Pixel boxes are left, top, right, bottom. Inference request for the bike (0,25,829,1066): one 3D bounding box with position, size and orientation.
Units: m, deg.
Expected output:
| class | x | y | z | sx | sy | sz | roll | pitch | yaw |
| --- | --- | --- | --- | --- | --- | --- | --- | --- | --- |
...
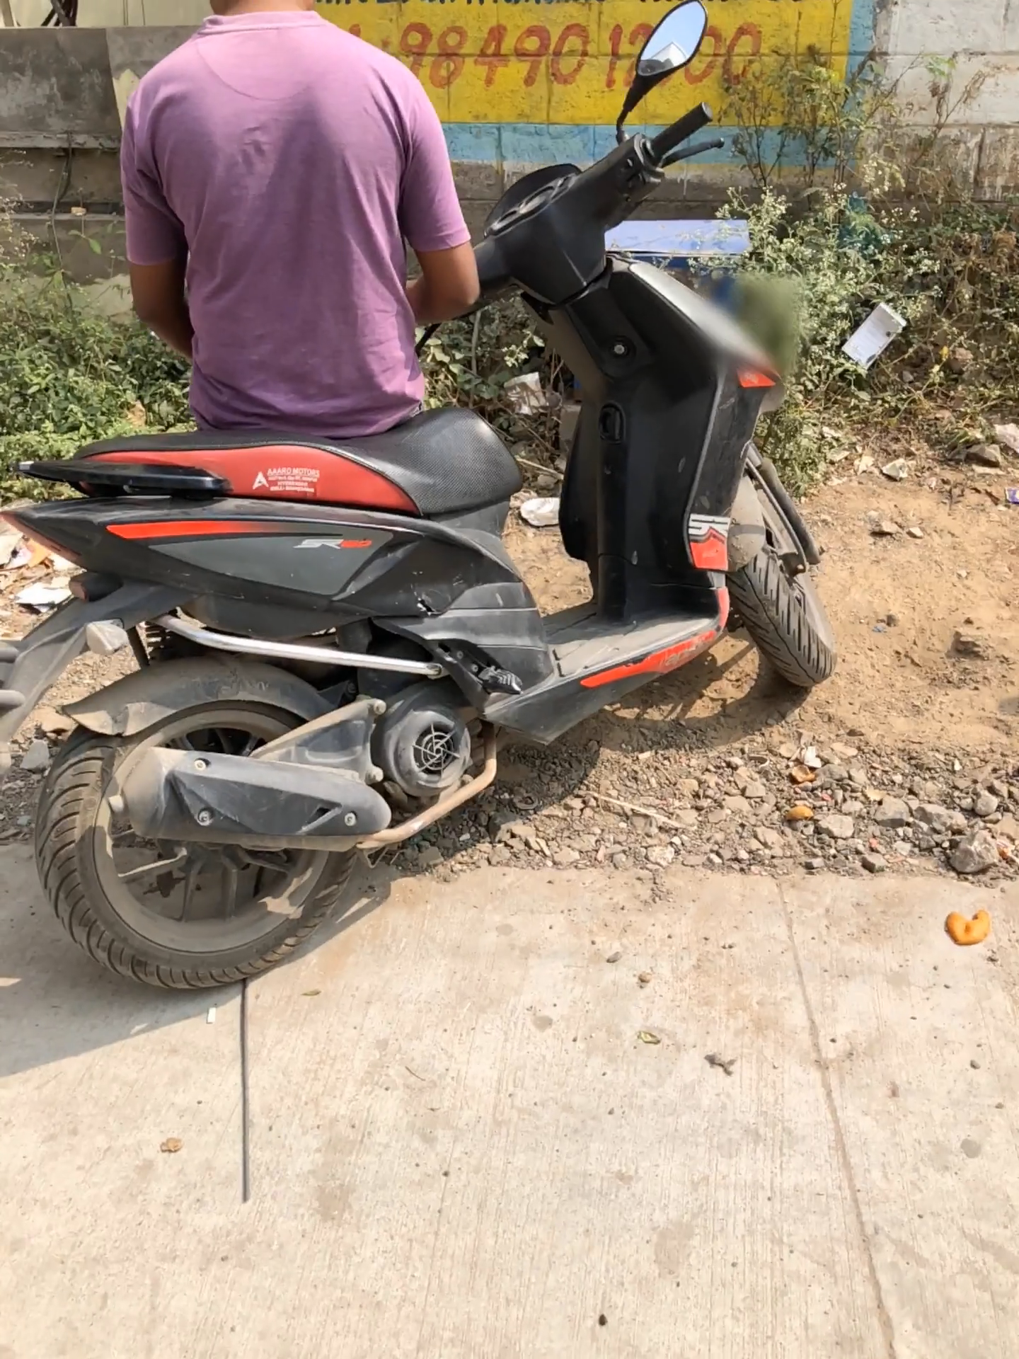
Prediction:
| class | x | y | z | sx | sy | sz | roll | pitch | yaw |
| --- | --- | --- | --- | --- | --- | --- | --- | --- | --- |
| bike | -0.226 | -0.459 | 2.132 | 0.718 | 1.199 | 1.774 | 26 | 43 | 36 |
